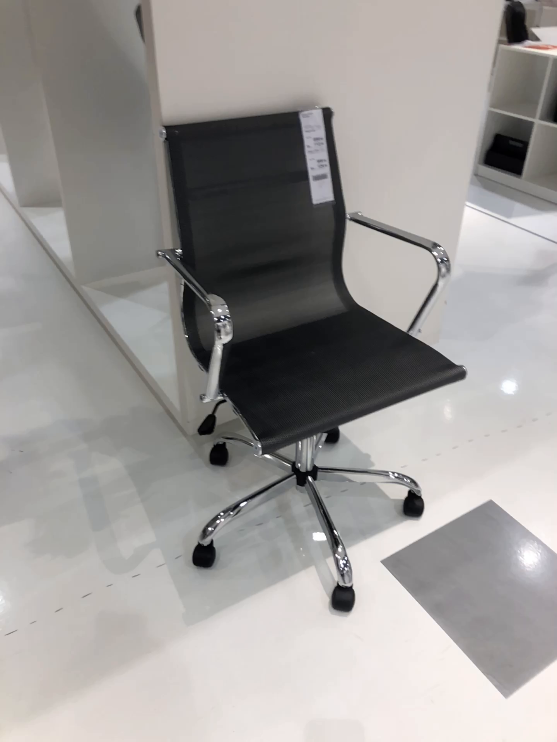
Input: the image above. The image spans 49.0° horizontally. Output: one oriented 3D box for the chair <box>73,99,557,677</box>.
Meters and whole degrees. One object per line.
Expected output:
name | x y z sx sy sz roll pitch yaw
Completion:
chair | 0.035 -0.014 1.322 0.622 0.903 0.653 -18 39 -25
